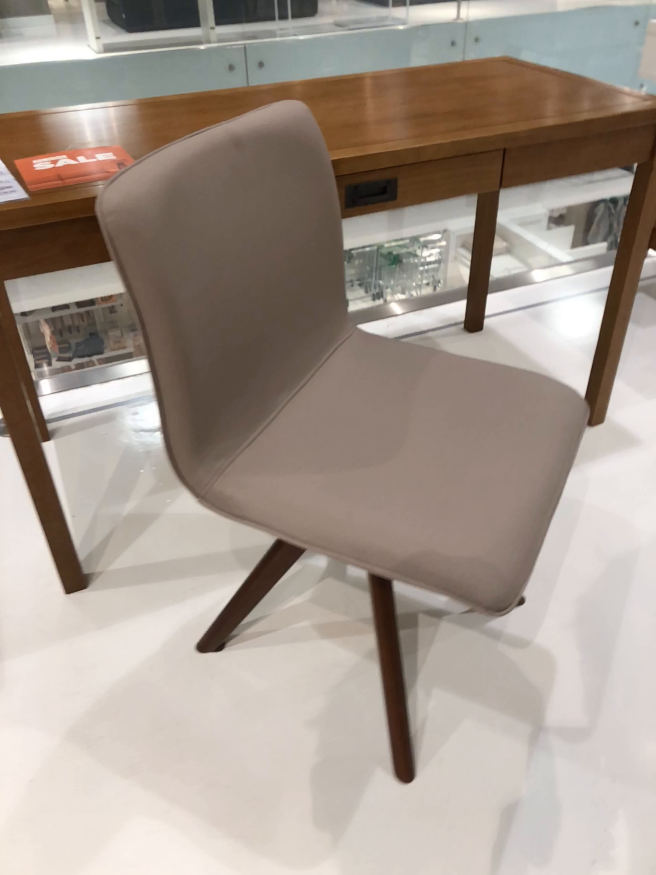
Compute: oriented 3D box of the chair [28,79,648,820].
[{"bbox_3d":[0.066,-0.005,1.068,0.531,0.834,0.543,14,39,21],"label":"chair"}]
